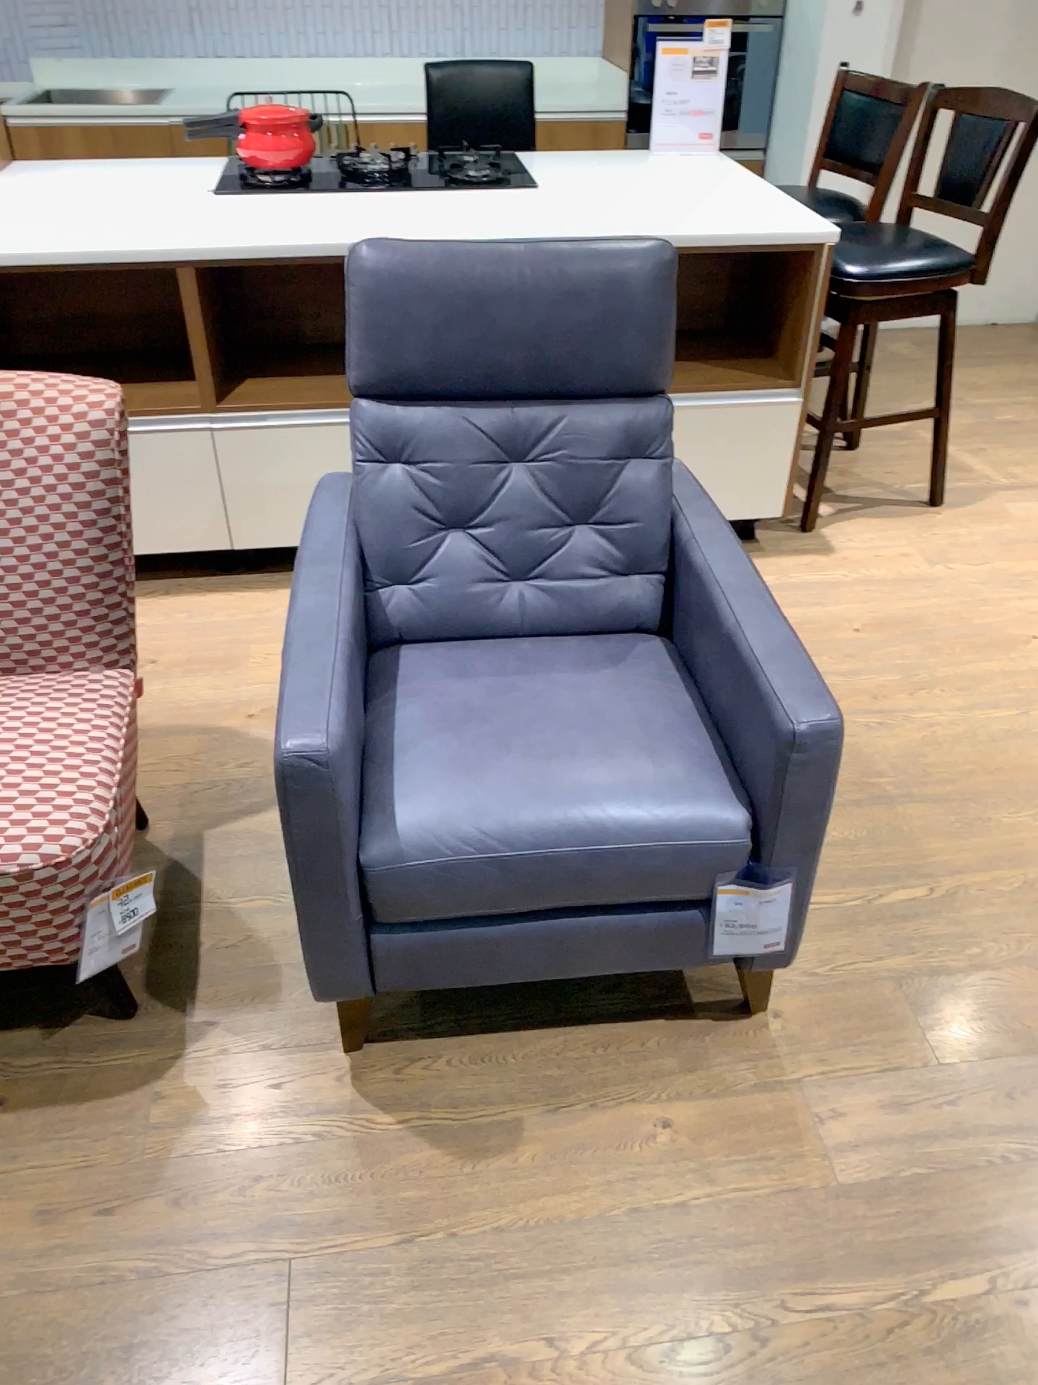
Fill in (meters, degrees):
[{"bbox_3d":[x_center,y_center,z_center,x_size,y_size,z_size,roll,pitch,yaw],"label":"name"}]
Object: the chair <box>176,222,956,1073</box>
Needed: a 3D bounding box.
[{"bbox_3d":[0.012,-0.105,1.667,0.770,0.996,0.854,-3,36,-5],"label":"chair"}]
